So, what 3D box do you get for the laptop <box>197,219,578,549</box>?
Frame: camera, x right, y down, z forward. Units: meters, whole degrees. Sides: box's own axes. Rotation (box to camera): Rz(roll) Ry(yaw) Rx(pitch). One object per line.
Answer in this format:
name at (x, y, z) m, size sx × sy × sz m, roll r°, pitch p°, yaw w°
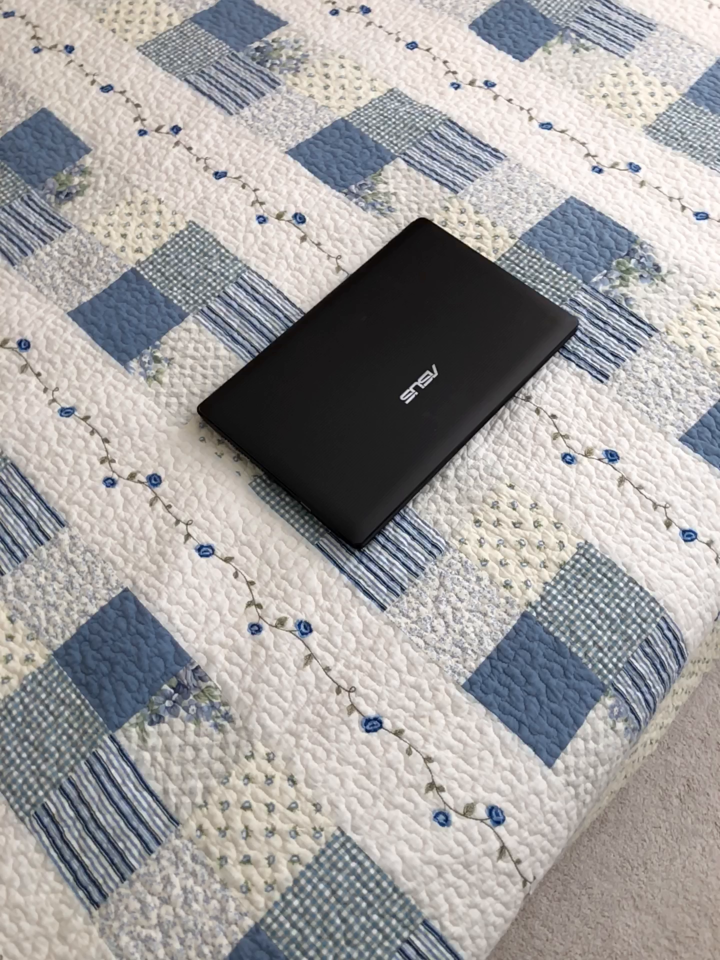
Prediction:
laptop at (0.035, -0.125, 0.883) m, size 0.235 × 0.006 × 0.369 m, roll 40°, pitch 72°, yaw 18°
